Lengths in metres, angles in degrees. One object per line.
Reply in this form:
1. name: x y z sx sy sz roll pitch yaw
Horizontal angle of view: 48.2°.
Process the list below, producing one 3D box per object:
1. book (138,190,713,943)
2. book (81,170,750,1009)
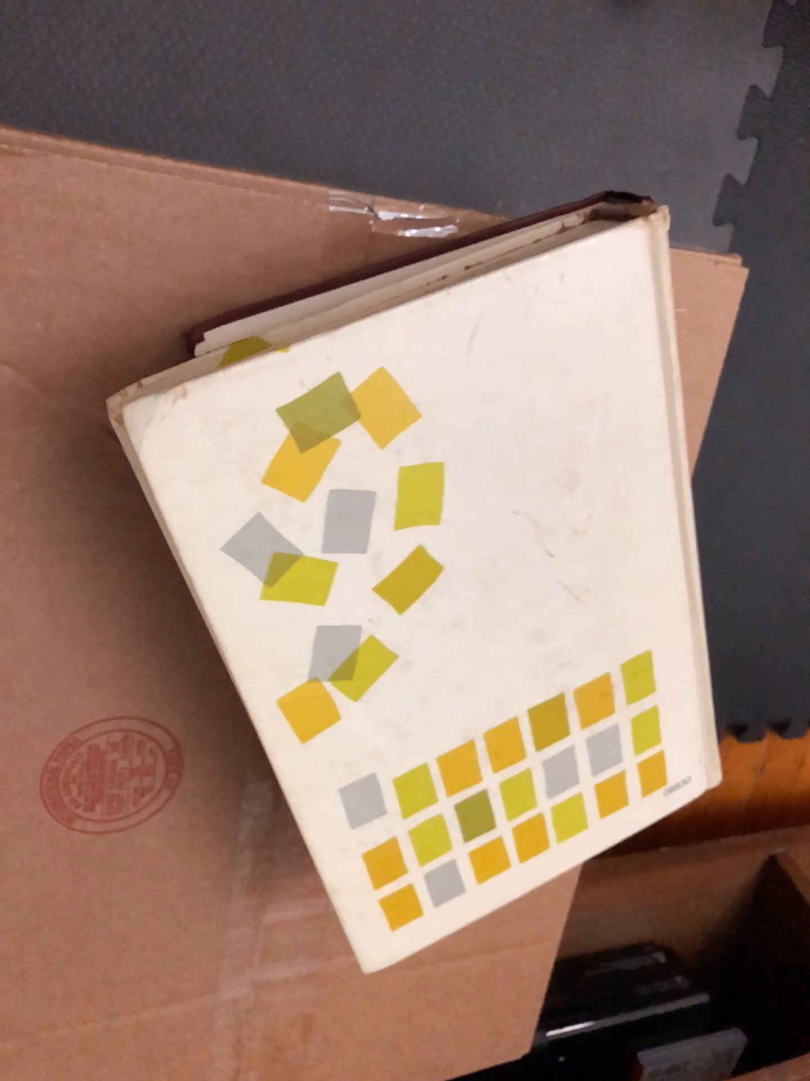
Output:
1. book: 0.030 0.019 0.350 0.180 0.040 0.250 -22 121 -16
2. book: 0.030 0.029 0.316 0.180 0.040 0.250 -25 122 -14
